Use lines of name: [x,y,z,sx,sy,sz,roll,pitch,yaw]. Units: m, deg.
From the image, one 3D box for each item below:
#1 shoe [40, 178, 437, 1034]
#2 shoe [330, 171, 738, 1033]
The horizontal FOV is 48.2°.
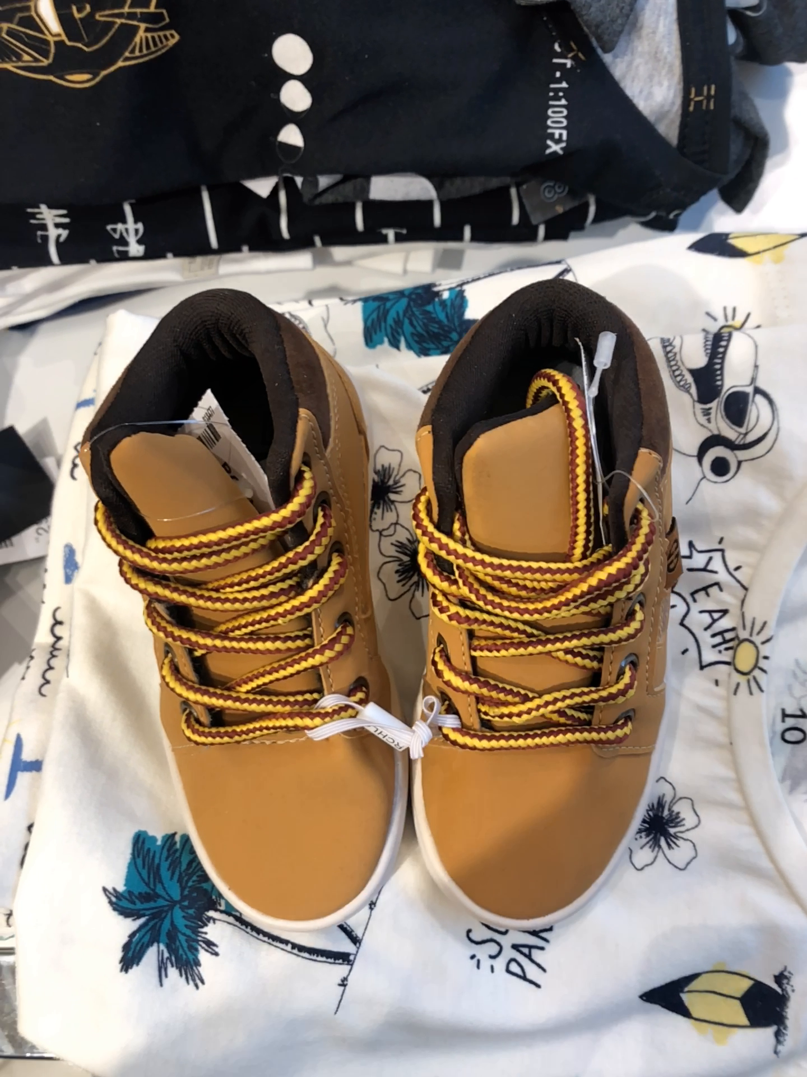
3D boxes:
shoe: [-0.036,0.015,0.229,0.070,0.090,0.170,-5,81,5]
shoe: [0.034,0.012,0.227,0.070,0.090,0.170,4,80,7]
